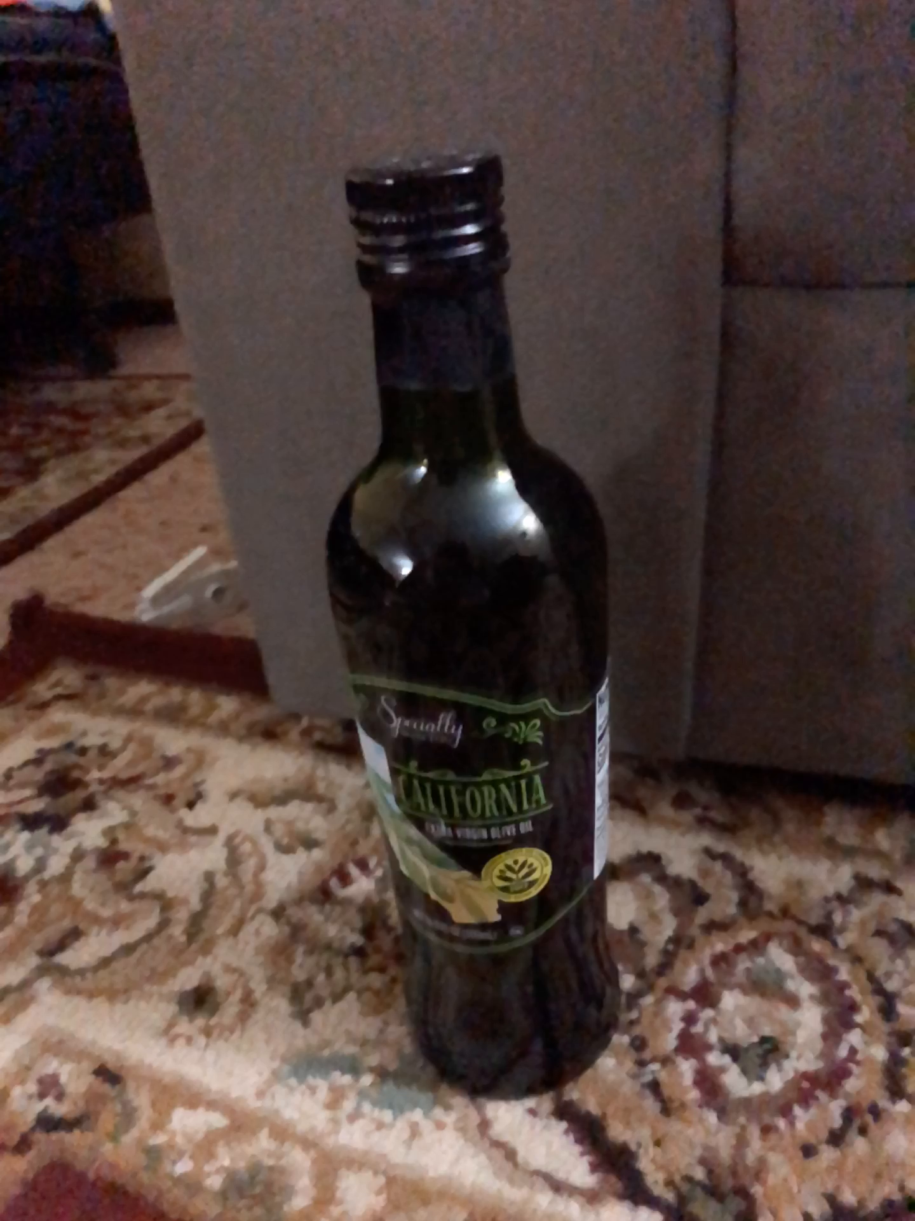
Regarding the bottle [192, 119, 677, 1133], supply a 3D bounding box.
[{"bbox_3d":[0.011,0.016,0.278,0.080,0.259,0.070,4,29,21],"label":"bottle"}]
